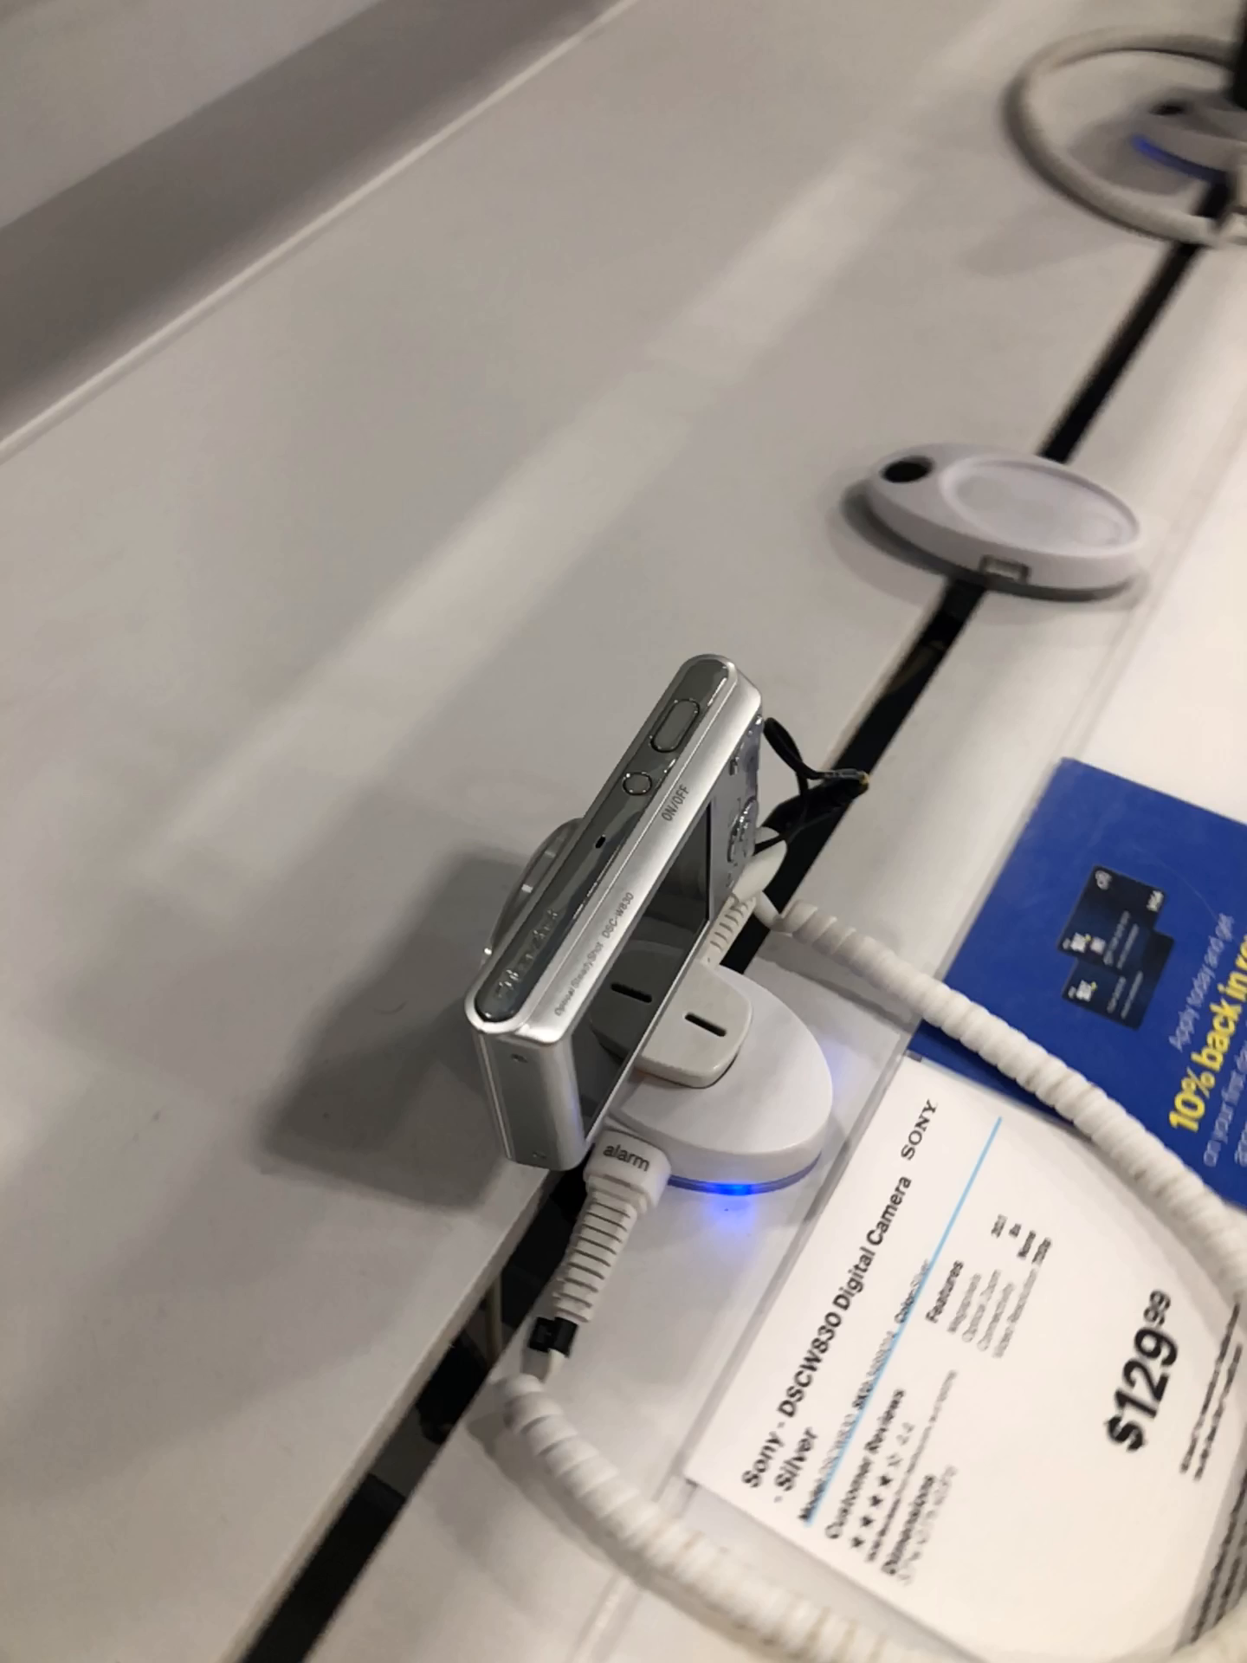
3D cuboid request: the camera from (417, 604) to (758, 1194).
[{"bbox_3d":[-0.002,0.013,0.269,0.020,0.070,0.090,20,54,19],"label":"camera"}]
